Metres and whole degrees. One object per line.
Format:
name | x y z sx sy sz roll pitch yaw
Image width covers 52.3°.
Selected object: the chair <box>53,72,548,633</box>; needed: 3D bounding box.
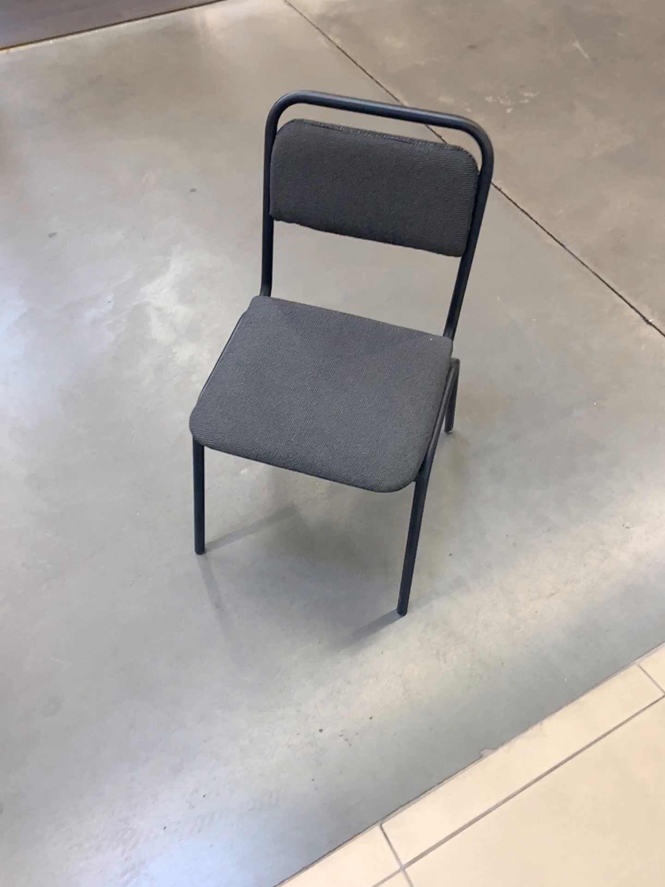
chair | -0.005 -0.144 1.304 0.550 0.738 0.632 15 56 10
